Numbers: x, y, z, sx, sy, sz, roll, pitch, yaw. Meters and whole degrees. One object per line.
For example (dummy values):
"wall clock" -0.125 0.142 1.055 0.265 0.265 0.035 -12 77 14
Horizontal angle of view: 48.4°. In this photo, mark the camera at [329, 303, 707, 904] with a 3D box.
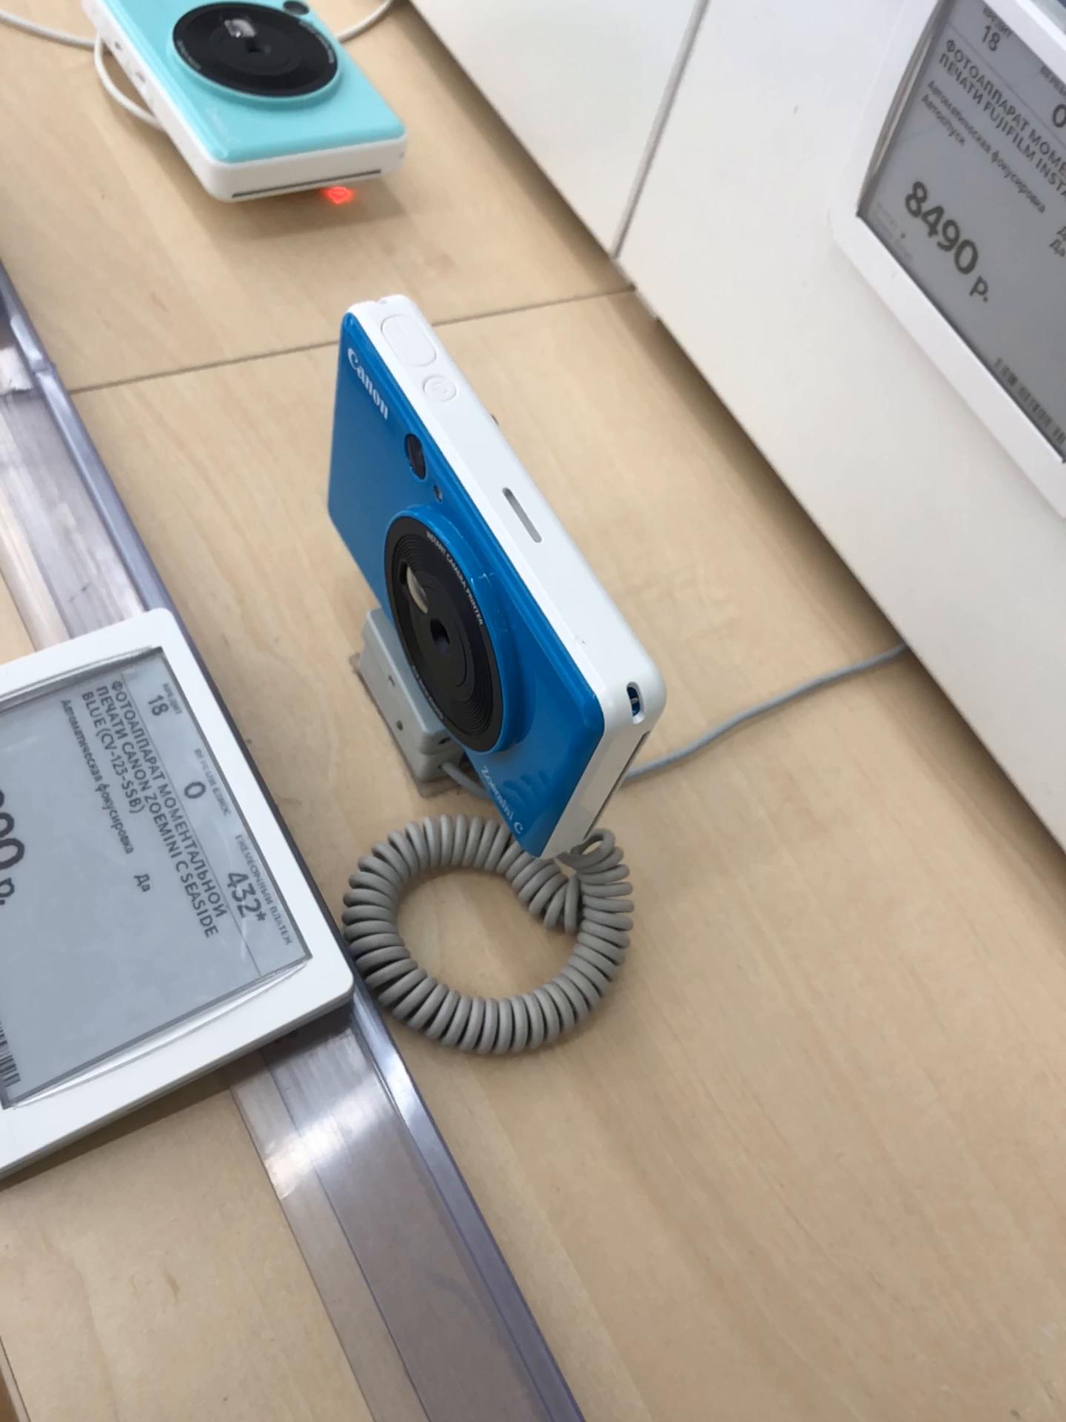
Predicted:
"camera" -0.011 -0.024 0.277 0.025 0.072 0.119 -21 66 -21
